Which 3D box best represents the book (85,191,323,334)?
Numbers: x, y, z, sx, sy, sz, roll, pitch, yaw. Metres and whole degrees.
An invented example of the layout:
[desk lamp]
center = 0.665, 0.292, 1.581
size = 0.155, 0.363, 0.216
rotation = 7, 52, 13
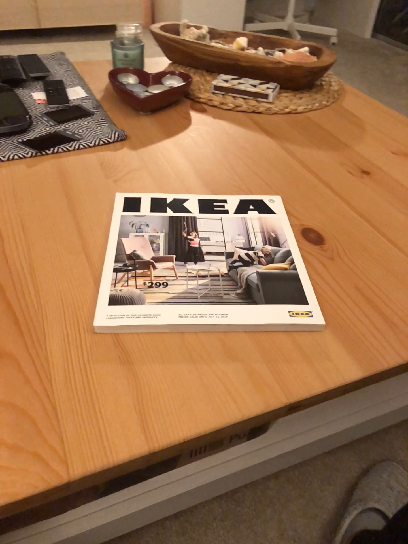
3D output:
[book]
center = -0.005, -0.022, 0.481
size = 0.211, 0.015, 0.217
rotation = 0, 41, -5
